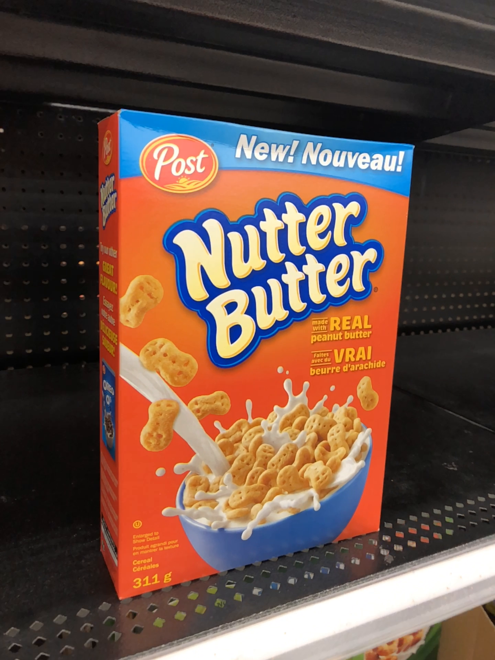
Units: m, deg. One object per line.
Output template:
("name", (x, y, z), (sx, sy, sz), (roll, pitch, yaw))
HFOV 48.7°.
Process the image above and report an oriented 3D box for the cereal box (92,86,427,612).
("cereal box", (0.006, 0.011, 0.349), (0.190, 0.279, 0.060), (-3, 13, -25))
